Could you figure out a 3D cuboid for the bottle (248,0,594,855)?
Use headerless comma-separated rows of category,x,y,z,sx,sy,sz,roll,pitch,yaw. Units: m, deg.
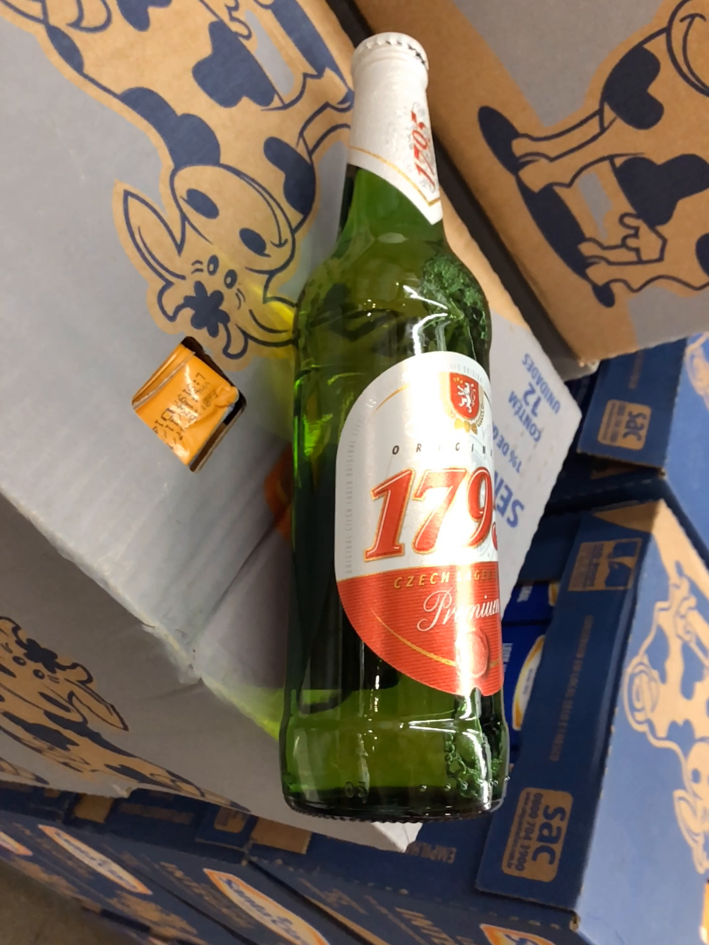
bottle,0.016,-0.037,0.247,0.070,0.060,0.270,16,67,-44
